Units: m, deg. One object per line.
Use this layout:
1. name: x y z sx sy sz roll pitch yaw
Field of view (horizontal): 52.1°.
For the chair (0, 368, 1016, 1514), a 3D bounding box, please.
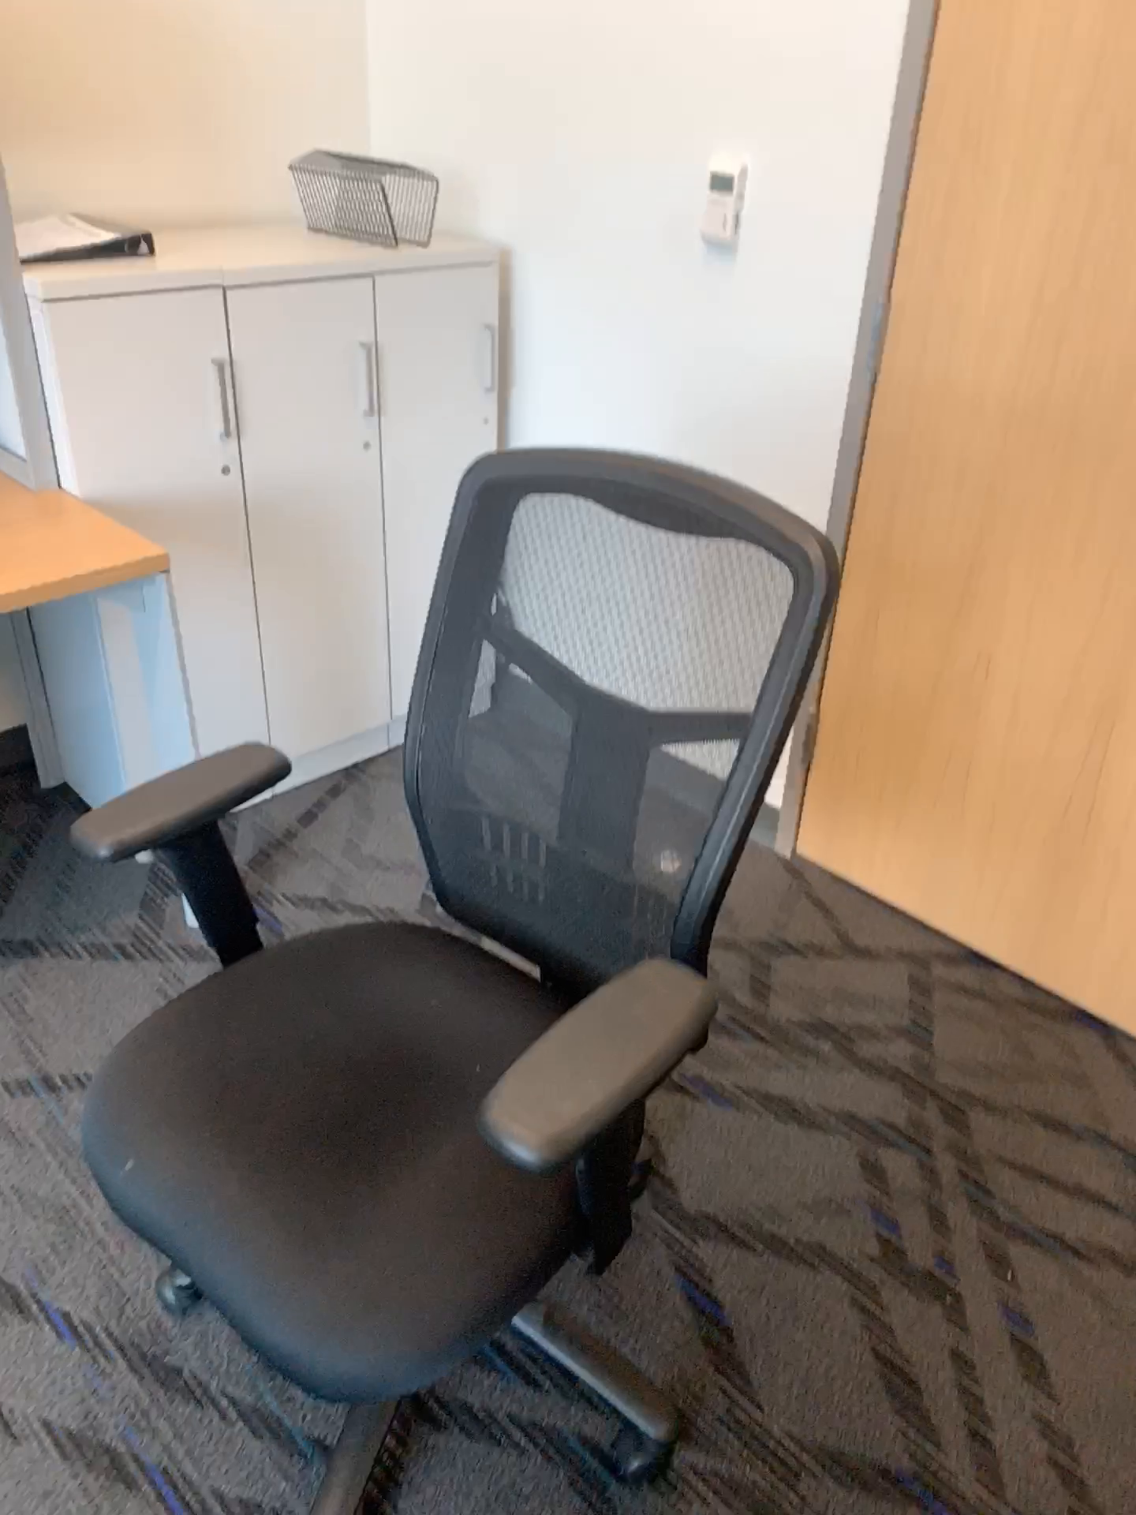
1. chair: -0.127 0.213 1.202 0.663 0.992 0.723 28 38 37
